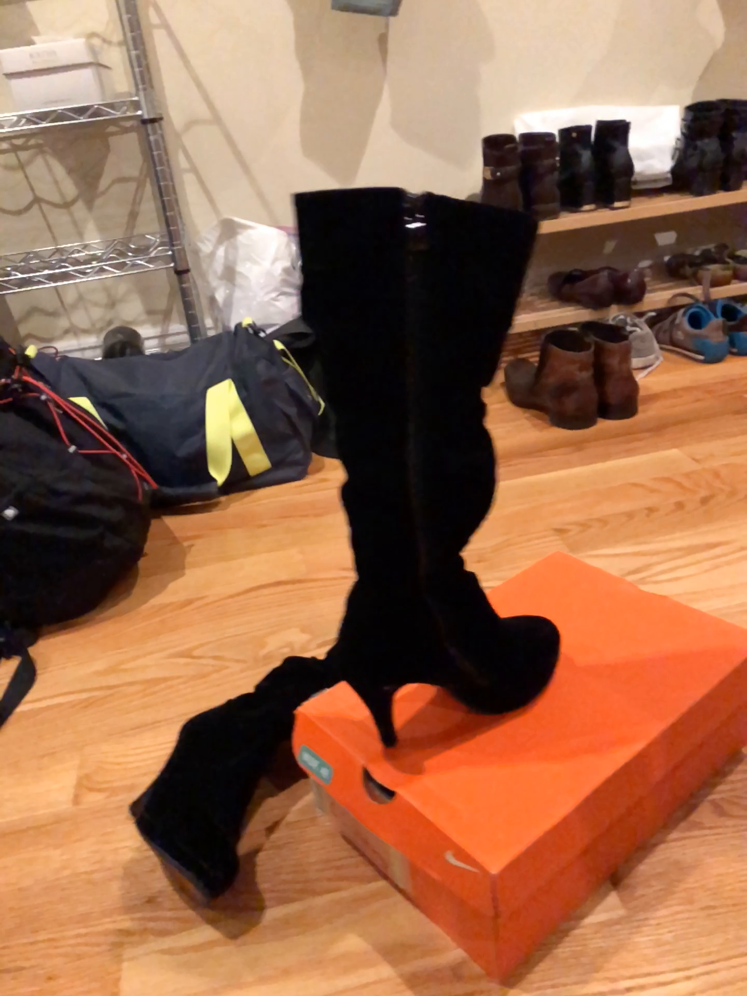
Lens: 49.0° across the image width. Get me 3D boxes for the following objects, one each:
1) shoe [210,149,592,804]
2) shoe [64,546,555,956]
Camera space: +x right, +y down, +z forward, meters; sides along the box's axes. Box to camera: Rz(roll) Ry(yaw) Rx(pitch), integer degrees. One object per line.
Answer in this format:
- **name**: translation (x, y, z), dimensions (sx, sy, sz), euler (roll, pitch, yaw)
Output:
- **shoe**: translation (0.043, -0.013, 0.571), dimensions (0.217, 0.397, 0.089), euler (-23, 30, -28)
- **shoe**: translation (-0.044, 0.193, 0.758), dimensions (0.400, 0.089, 0.206), euler (-26, 30, -32)
